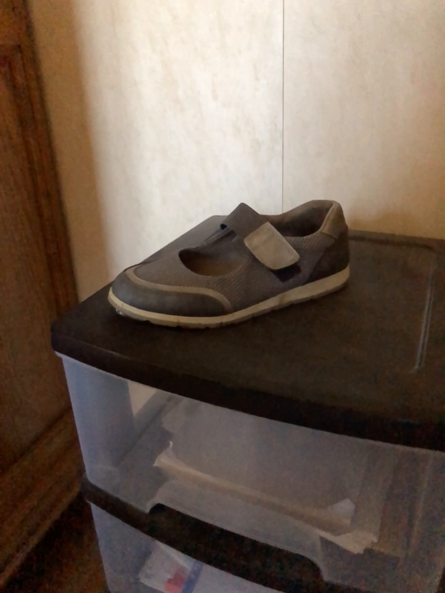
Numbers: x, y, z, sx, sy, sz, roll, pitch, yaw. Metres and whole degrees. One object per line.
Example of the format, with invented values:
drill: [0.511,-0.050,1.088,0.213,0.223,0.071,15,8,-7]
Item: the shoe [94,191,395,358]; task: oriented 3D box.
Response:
shoe: [0.023,-0.034,0.474,0.261,0.080,0.110,-13,28,-21]
